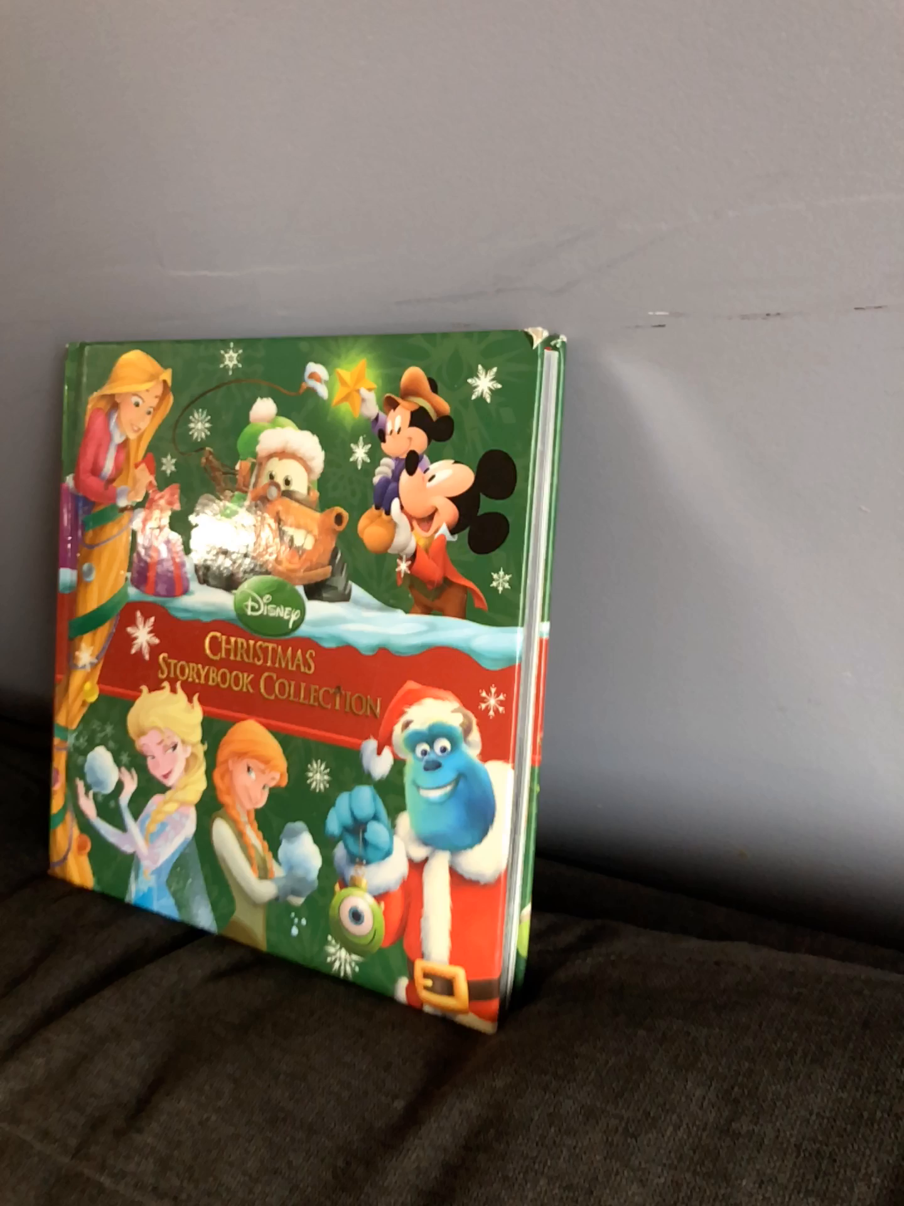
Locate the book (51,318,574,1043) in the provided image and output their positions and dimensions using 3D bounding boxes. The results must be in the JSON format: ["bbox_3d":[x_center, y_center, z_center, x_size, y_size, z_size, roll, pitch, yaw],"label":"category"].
[{"bbox_3d":[-0.070,0.017,0.396,0.227,0.238,0.033,7,8,31],"label":"book"}]
